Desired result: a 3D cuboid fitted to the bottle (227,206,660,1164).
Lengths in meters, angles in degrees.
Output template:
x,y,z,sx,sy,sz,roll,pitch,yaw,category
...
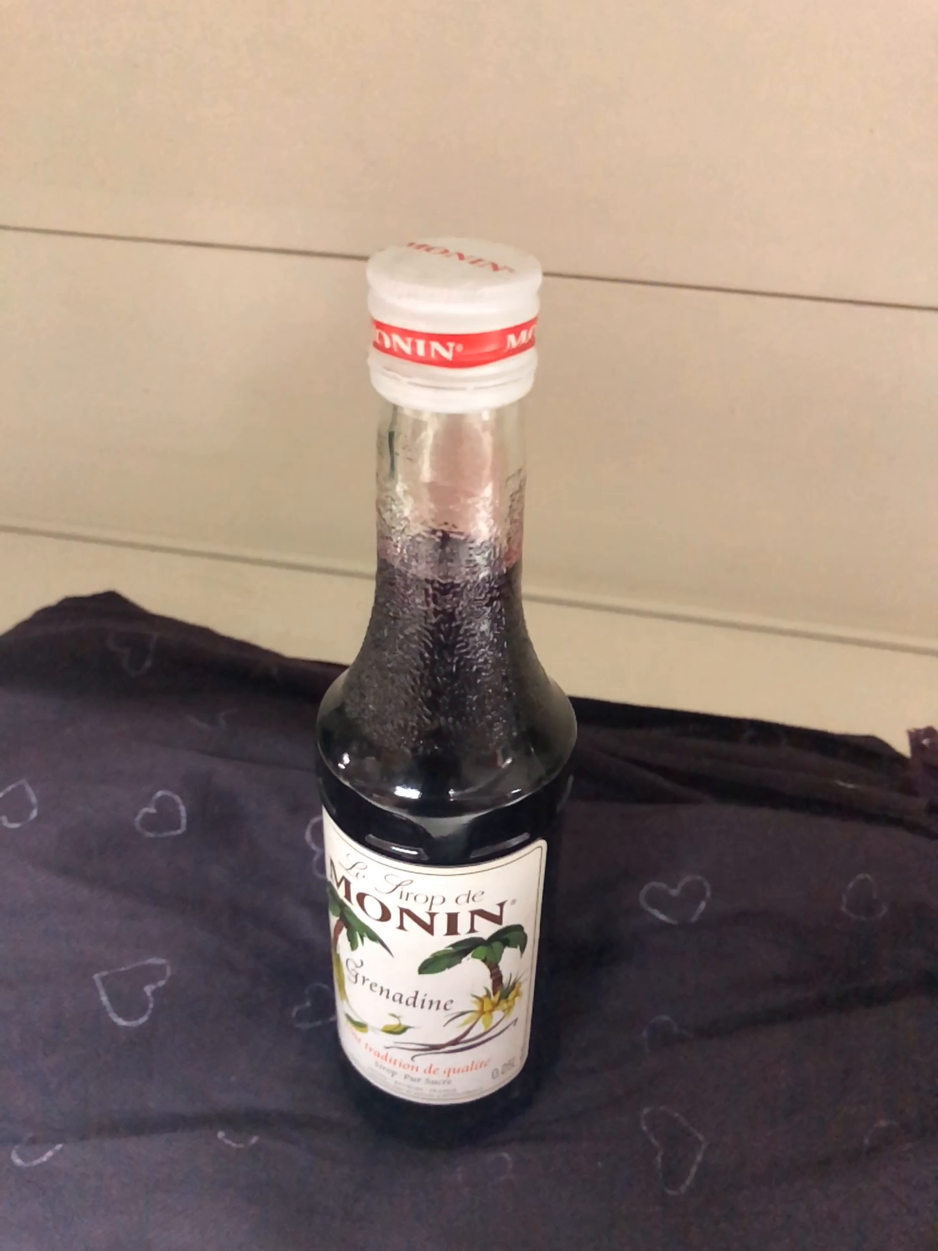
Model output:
x,y,z,sx,sy,sz,roll,pitch,yaw,category
-0.004,0.022,0.227,0.060,0.199,0.060,2,31,-1,bottle
